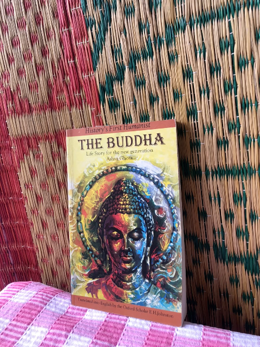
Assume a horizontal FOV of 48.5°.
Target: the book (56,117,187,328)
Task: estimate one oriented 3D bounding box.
[{"bbox_3d":[-0.013,0.048,0.327,0.146,0.207,0.030,-1,0,24],"label":"book"}]
